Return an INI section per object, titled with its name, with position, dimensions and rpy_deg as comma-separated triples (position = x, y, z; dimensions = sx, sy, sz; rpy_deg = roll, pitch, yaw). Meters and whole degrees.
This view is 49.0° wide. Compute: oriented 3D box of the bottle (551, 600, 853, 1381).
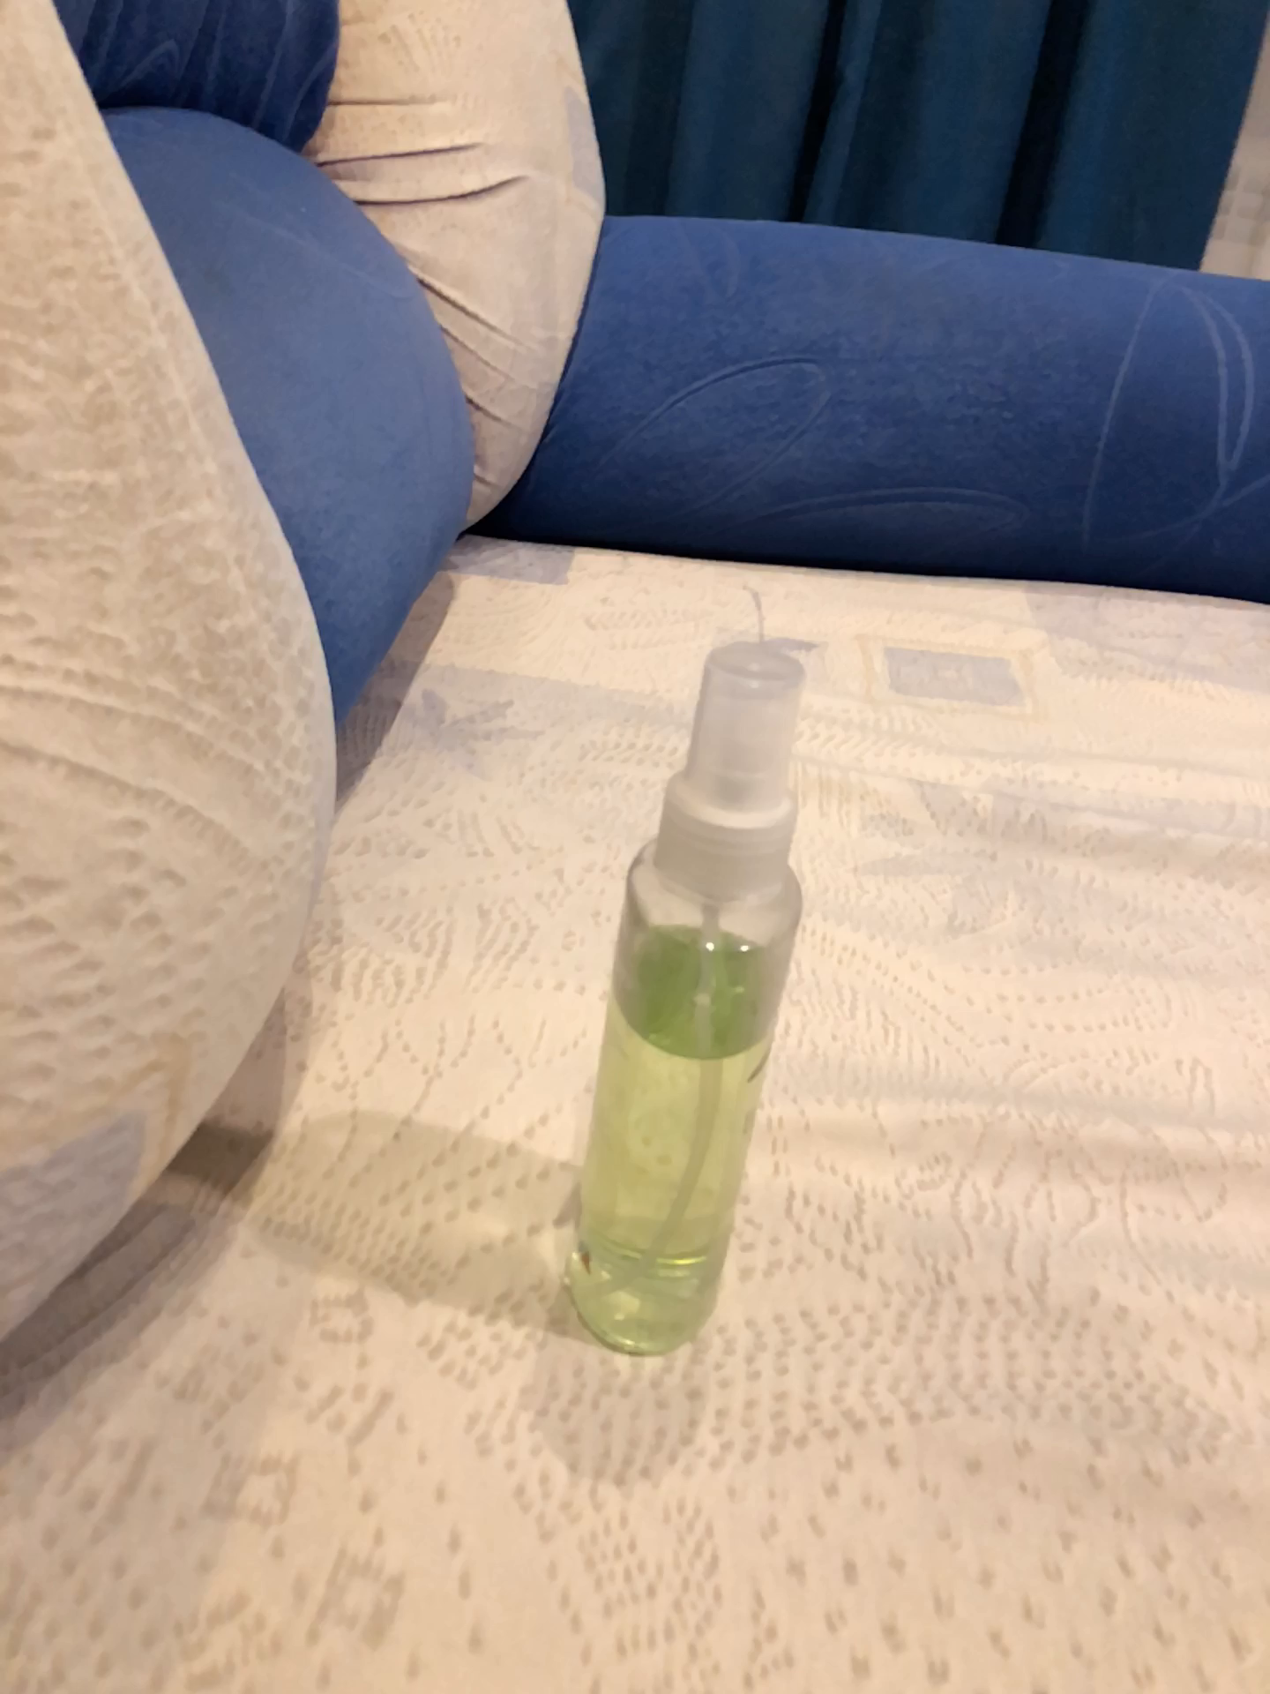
[bottle]
position = 0.011, 0.032, 0.287
dimensions = 0.037, 0.149, 0.058
rpy_deg = 8, 28, 1
